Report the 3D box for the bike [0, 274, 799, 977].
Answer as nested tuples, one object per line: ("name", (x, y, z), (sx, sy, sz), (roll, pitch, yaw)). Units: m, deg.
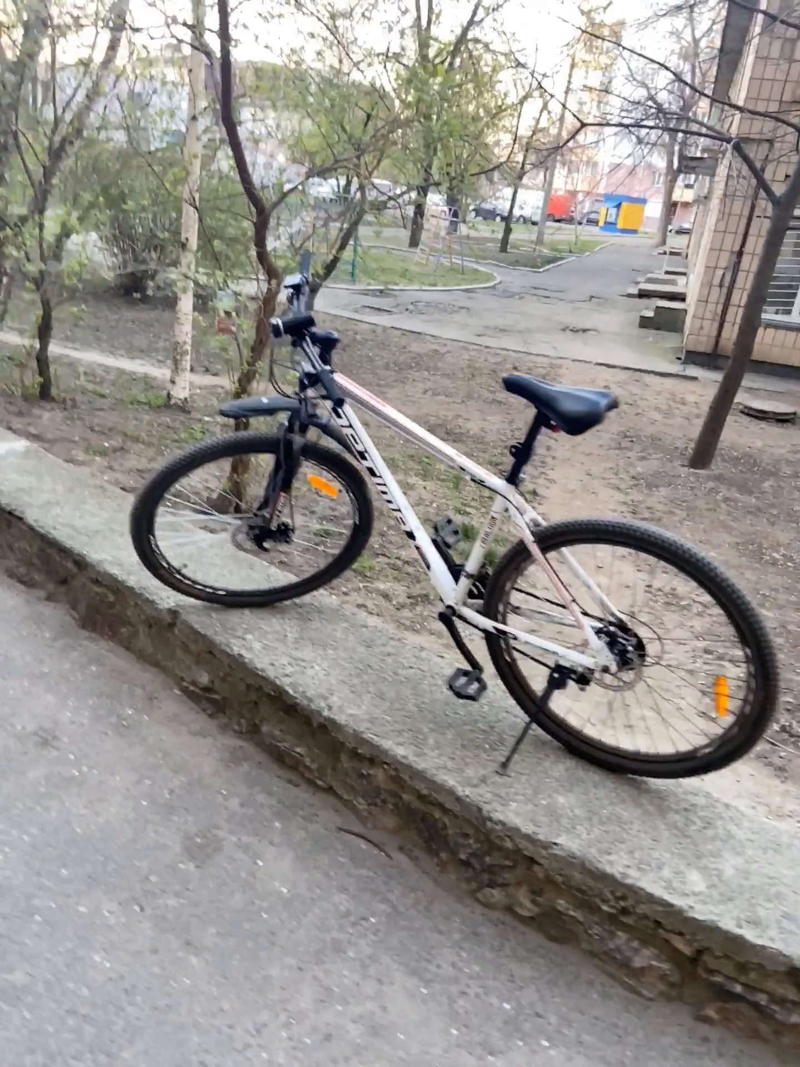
("bike", (0.030, 0.065, 1.955), (1.750, 1.145, 0.682), (13, 24, 20))
